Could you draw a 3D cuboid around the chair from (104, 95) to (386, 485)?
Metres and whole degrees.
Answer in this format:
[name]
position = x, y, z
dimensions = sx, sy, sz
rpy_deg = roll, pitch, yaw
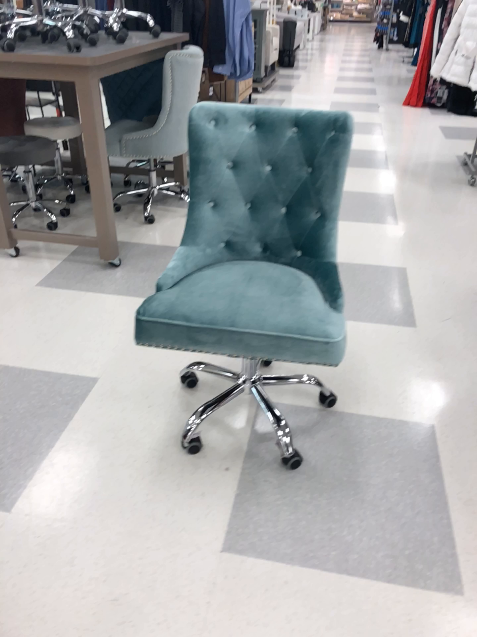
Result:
[chair]
position = 0.061, -0.110, 1.579
dimensions = 0.597, 0.934, 0.609
rpy_deg = 7, 32, 10
